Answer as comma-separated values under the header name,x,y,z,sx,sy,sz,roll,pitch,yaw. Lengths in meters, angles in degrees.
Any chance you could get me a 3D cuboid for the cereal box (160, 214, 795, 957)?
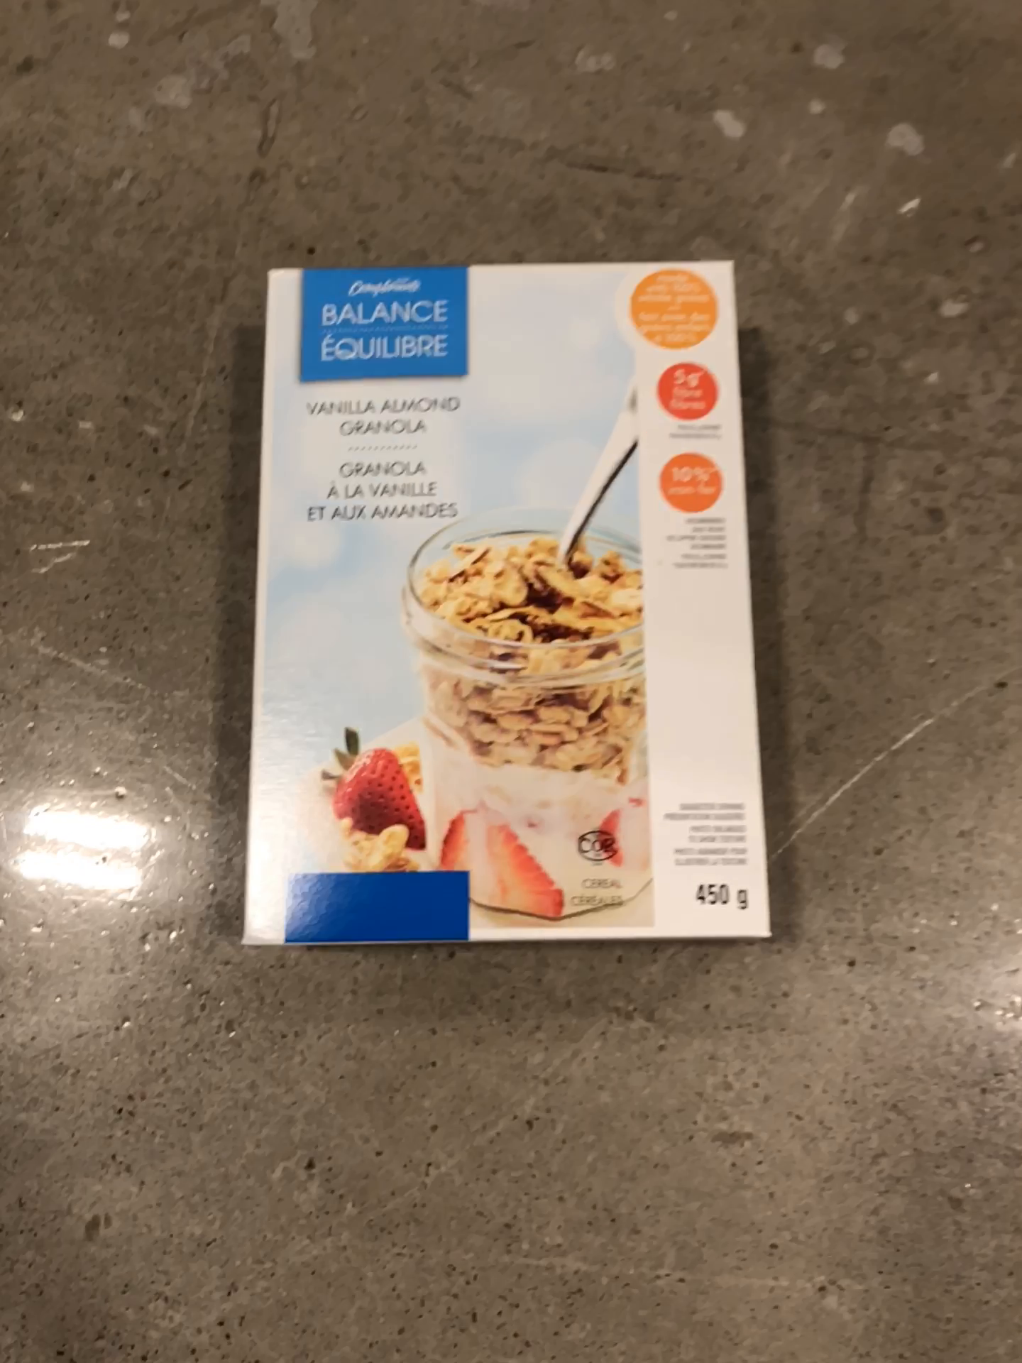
name,x,y,z,sx,sy,sz,roll,pitch,yaw
cereal box,-0.012,-0.033,0.387,0.190,0.050,0.240,-1,80,1
